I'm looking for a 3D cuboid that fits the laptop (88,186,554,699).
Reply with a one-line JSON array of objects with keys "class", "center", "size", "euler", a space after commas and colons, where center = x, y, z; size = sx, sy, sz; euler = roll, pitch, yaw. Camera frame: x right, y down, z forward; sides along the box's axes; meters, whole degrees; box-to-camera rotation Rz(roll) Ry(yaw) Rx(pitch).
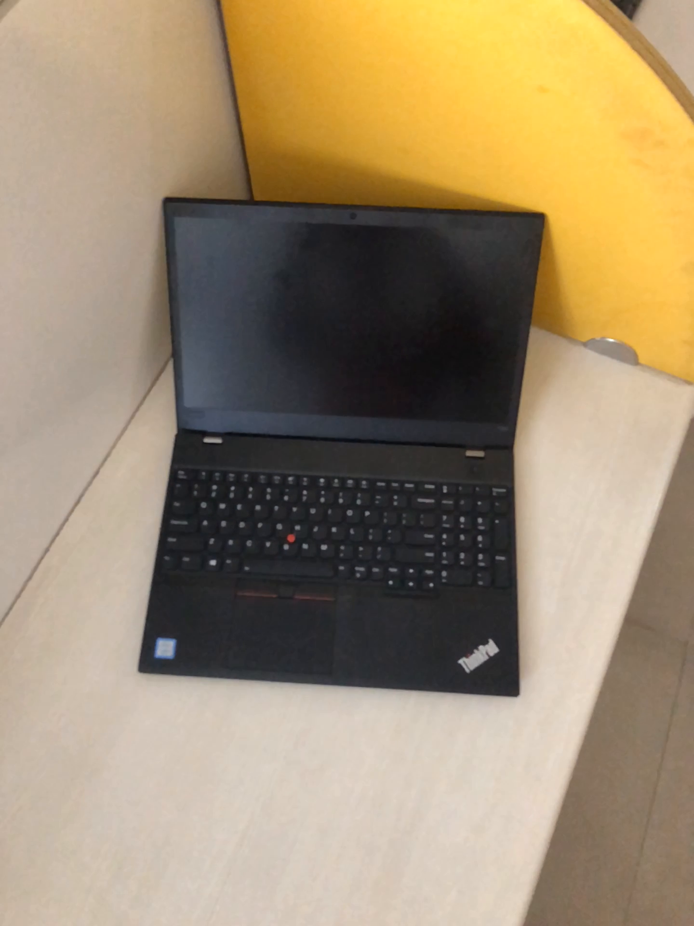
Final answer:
[{"class": "laptop", "center": [-0.009, -0.020, 0.708], "size": [0.344, 0.151, 0.421], "euler": [3, 70, 1]}]
